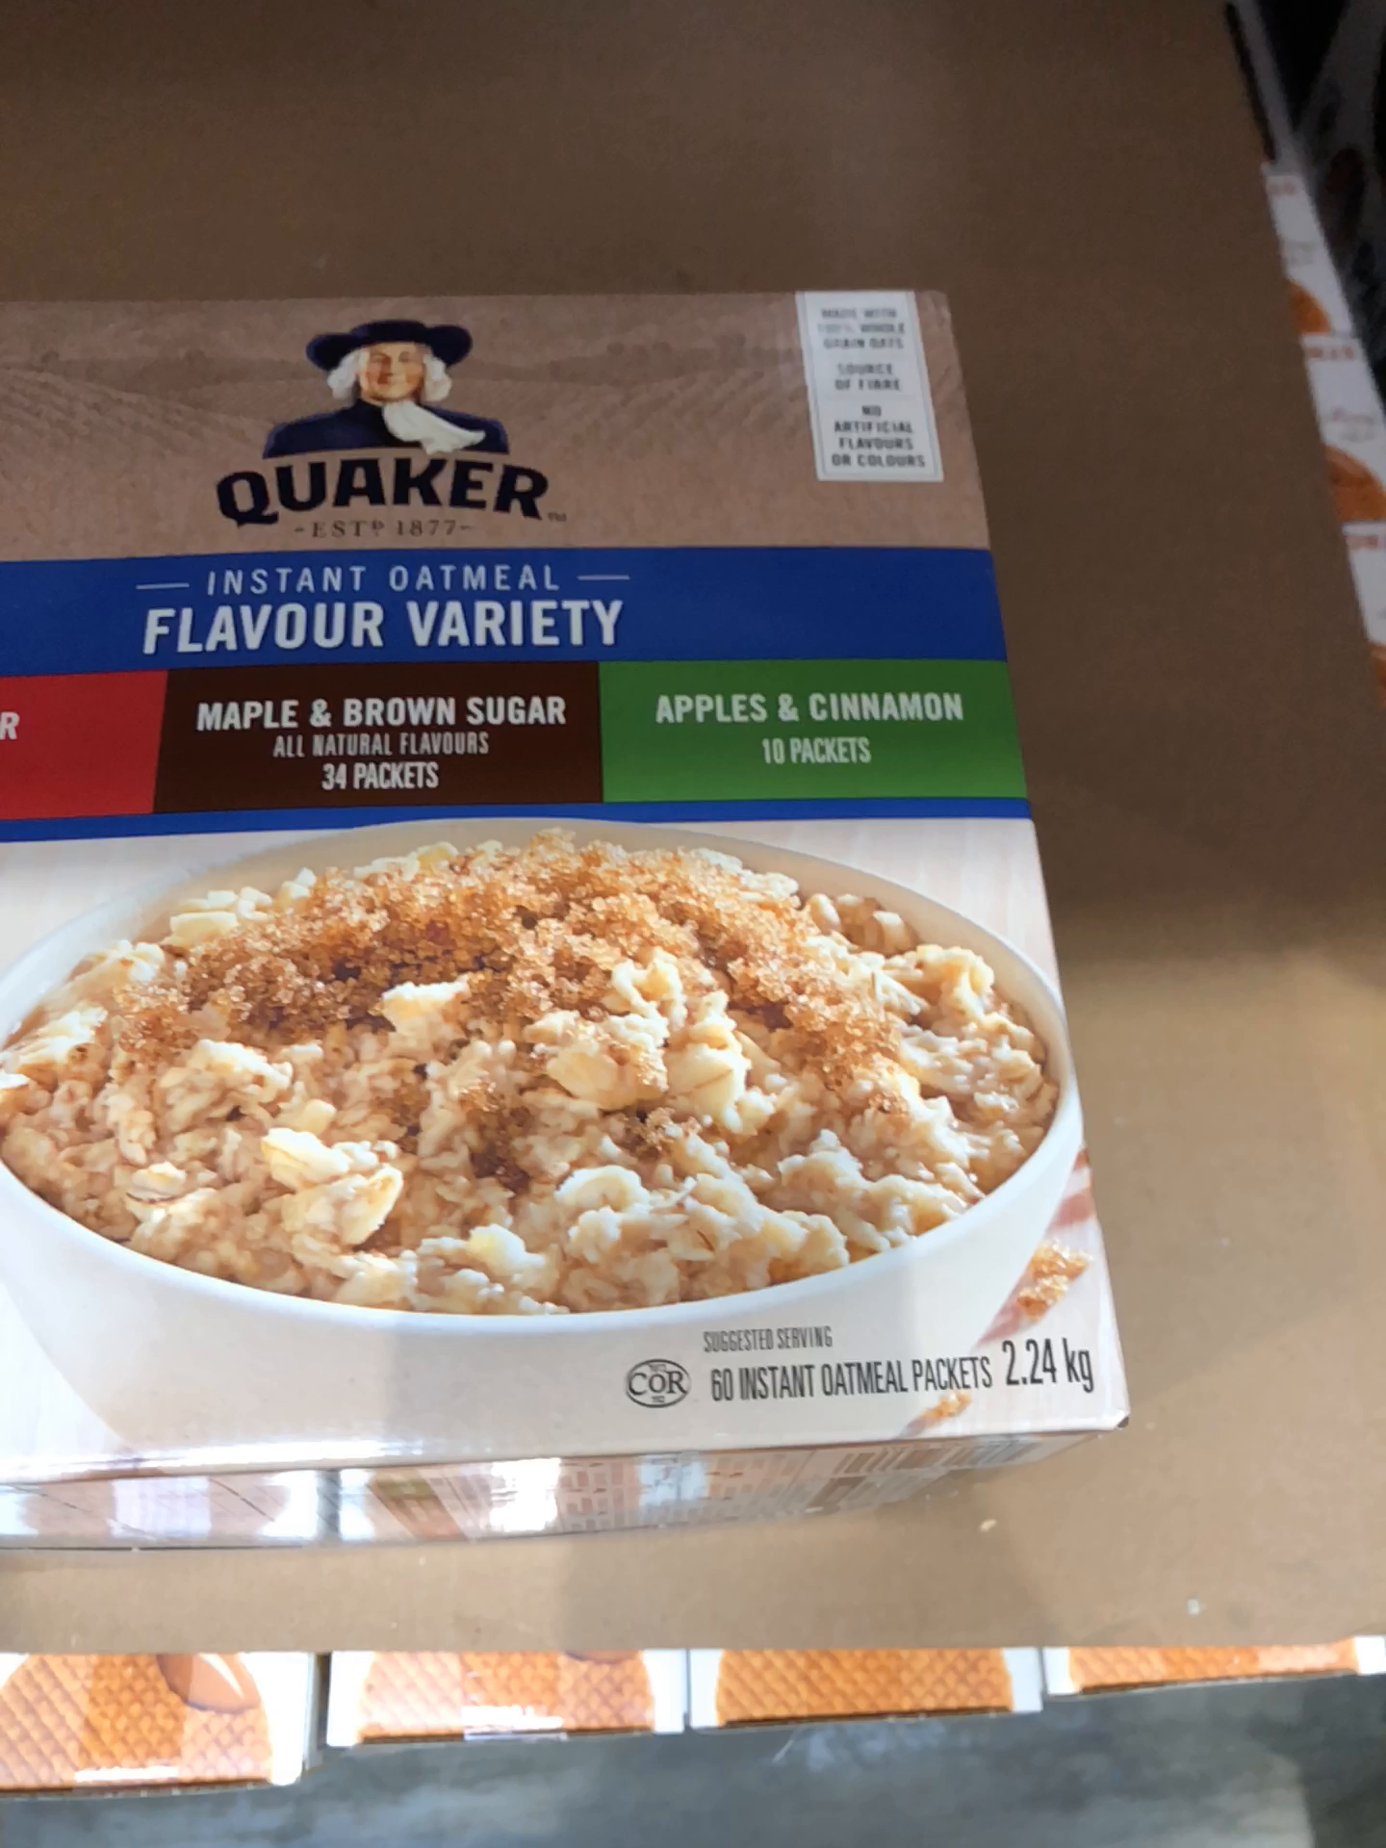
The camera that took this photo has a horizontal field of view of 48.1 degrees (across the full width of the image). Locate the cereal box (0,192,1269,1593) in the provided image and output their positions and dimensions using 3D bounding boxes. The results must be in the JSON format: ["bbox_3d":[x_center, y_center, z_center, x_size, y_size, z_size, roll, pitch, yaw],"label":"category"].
[{"bbox_3d":[-0.047,0.004,0.365,0.240,0.200,0.260,-2,64,-3],"label":"cereal box"}]
